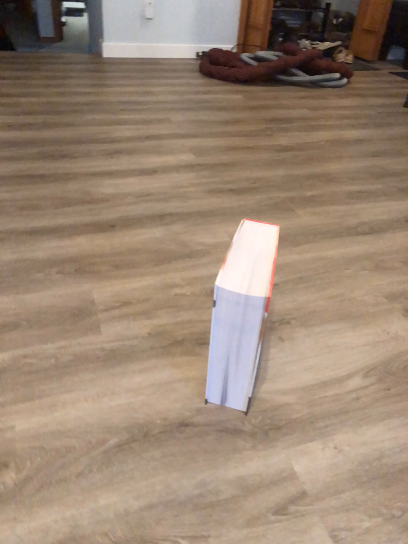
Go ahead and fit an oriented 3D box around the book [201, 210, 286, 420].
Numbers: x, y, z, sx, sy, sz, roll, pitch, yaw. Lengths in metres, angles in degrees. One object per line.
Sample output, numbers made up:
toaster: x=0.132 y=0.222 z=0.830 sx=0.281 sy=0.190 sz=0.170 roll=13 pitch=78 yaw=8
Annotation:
book: x=0.074 y=0.074 z=0.833 sx=0.087 sy=0.290 sz=0.241 roll=10 pitch=36 yaw=10
